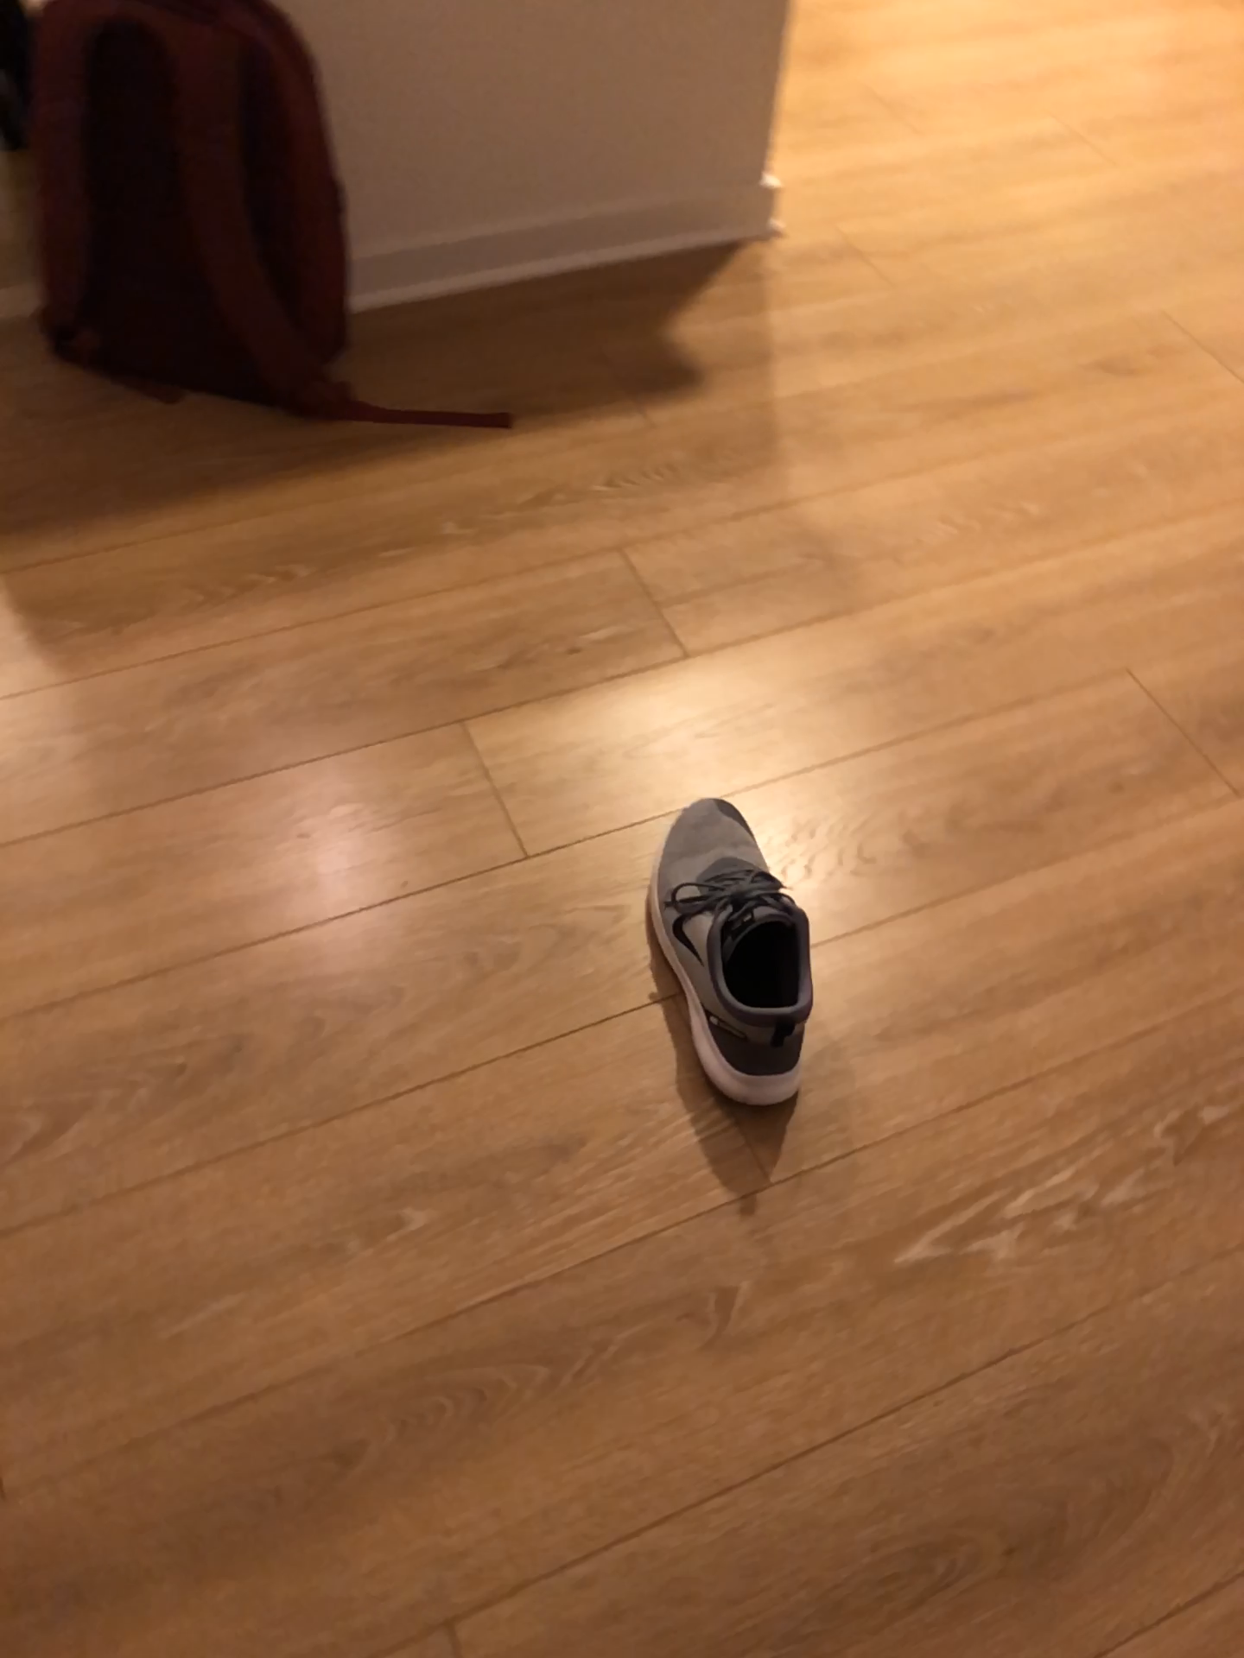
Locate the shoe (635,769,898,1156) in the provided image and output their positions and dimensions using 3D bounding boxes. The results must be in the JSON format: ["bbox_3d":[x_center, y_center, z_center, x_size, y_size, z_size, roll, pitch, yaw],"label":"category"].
[{"bbox_3d":[0.112,0.103,1.166,0.140,0.080,0.321,-6,53,-9],"label":"shoe"}]
